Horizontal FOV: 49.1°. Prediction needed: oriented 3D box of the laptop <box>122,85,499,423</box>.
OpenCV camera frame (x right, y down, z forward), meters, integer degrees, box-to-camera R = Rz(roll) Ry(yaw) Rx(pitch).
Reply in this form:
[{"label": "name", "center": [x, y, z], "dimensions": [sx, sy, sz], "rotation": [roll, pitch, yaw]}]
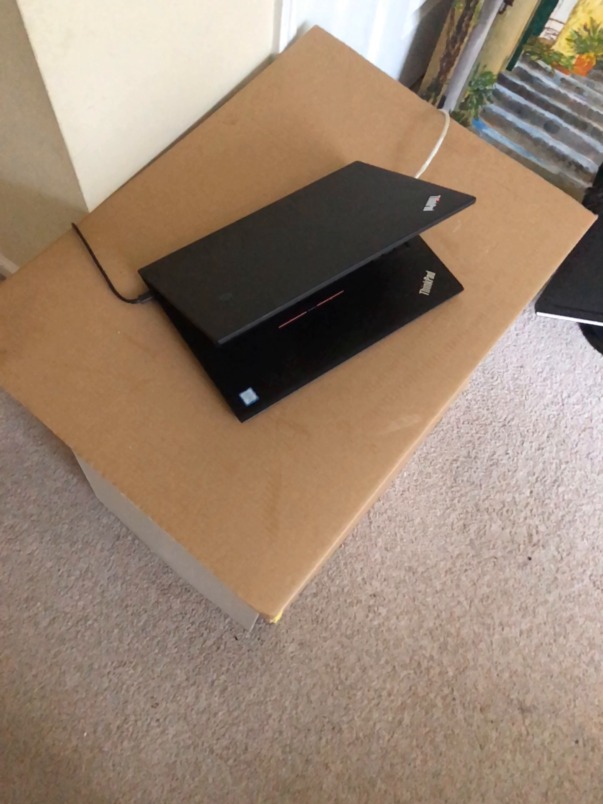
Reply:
[{"label": "laptop", "center": [0.008, -0.176, 0.766], "dimensions": [0.334, 0.140, 0.231], "rotation": [-31, 72, -16]}]
